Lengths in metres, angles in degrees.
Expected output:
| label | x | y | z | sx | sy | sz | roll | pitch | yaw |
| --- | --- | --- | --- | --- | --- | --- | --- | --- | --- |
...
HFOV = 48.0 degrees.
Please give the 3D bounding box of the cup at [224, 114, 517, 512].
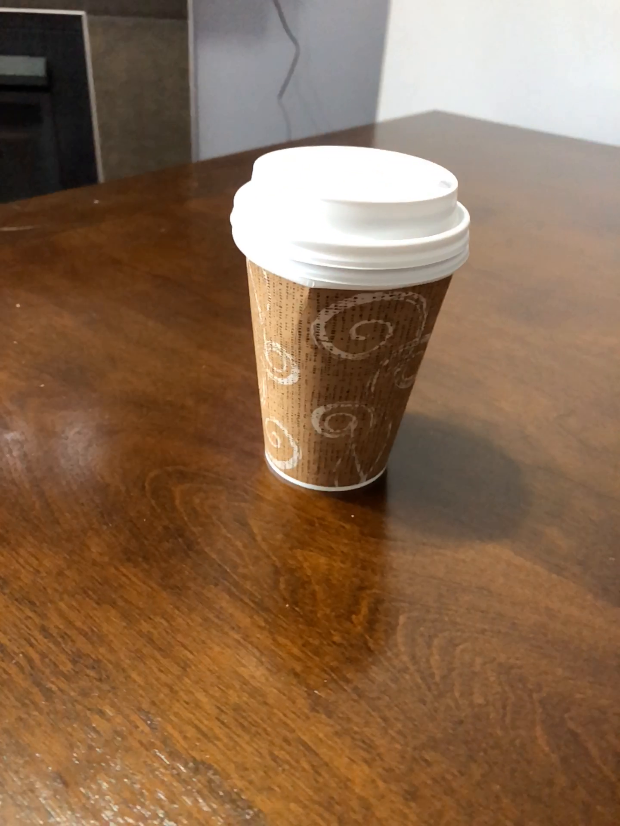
| label | x | y | z | sx | sy | sz | roll | pitch | yaw |
| --- | --- | --- | --- | --- | --- | --- | --- | --- | --- |
| cup | 0.012 | -0.034 | 0.228 | 0.070 | 0.100 | 0.080 | 4 | 33 | -2 |
